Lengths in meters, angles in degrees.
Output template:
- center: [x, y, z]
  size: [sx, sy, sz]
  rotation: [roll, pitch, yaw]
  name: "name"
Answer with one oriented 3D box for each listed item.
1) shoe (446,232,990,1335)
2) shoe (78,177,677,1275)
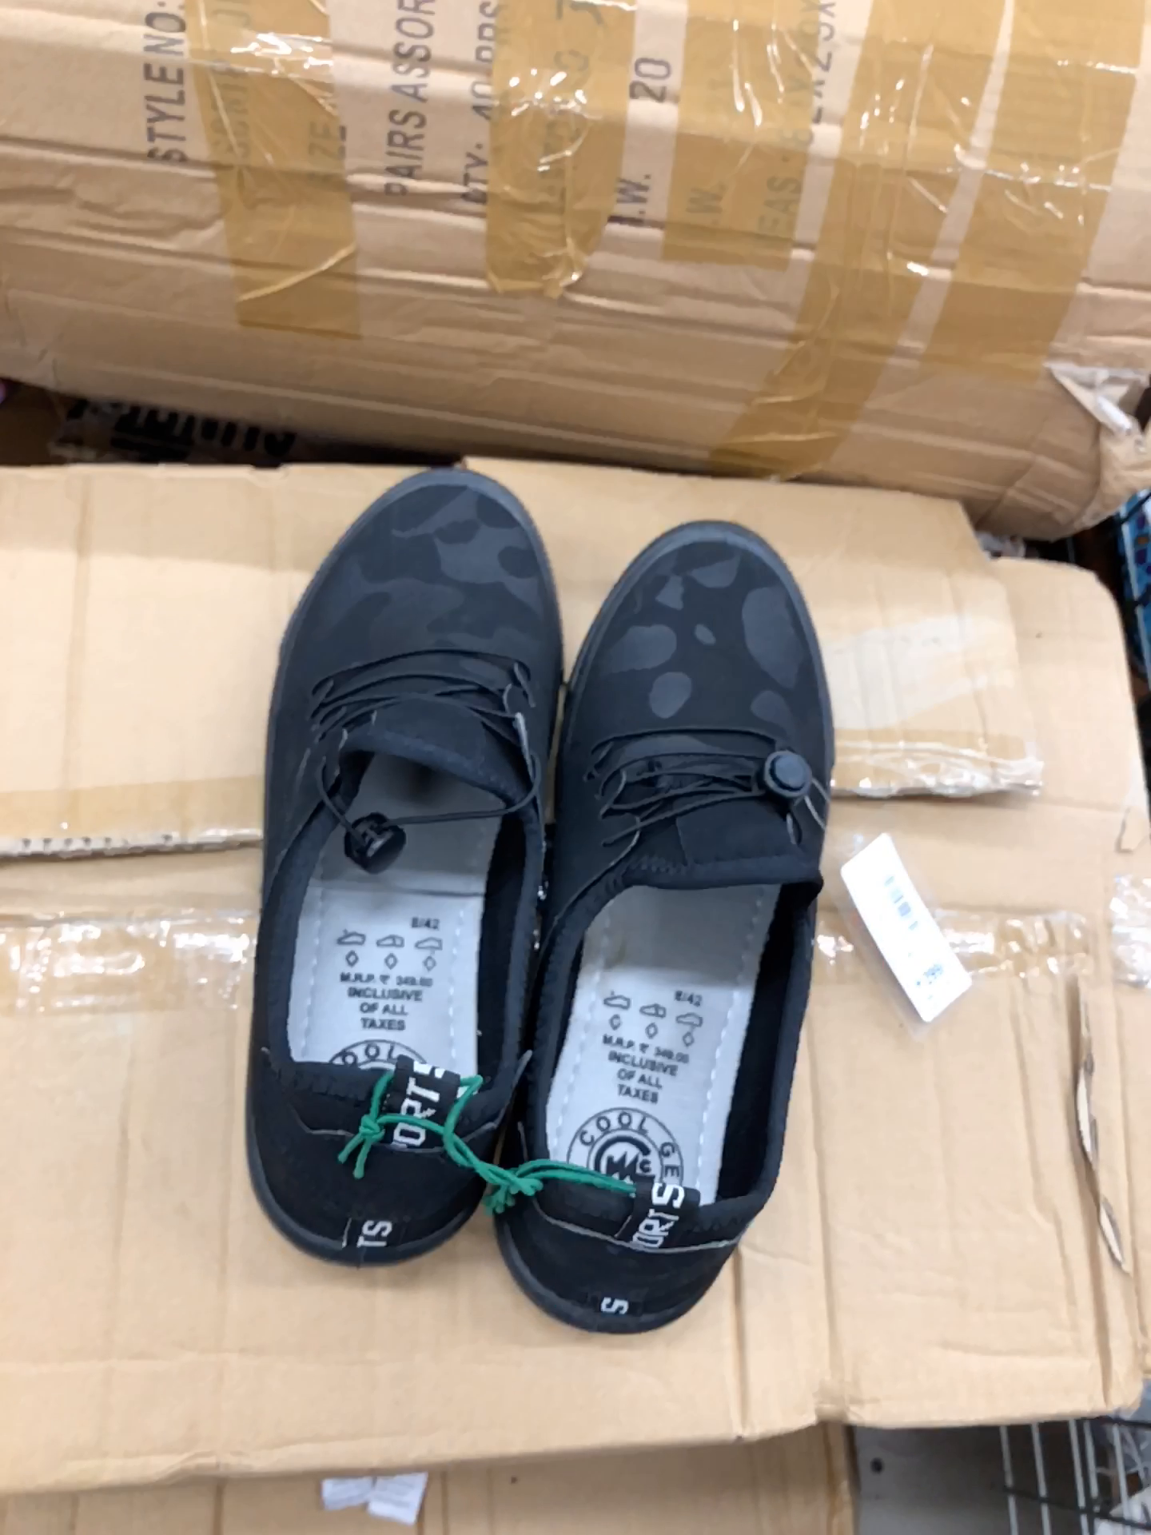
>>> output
- center: [0.044, 0.004, 0.420]
  size: [0.120, 0.130, 0.321]
  rotation: [9, 66, -6]
  name: "shoe"
- center: [-0.048, -0.012, 0.408]
  size: [0.120, 0.130, 0.311]
  rotation: [8, 66, -7]
  name: "shoe"
